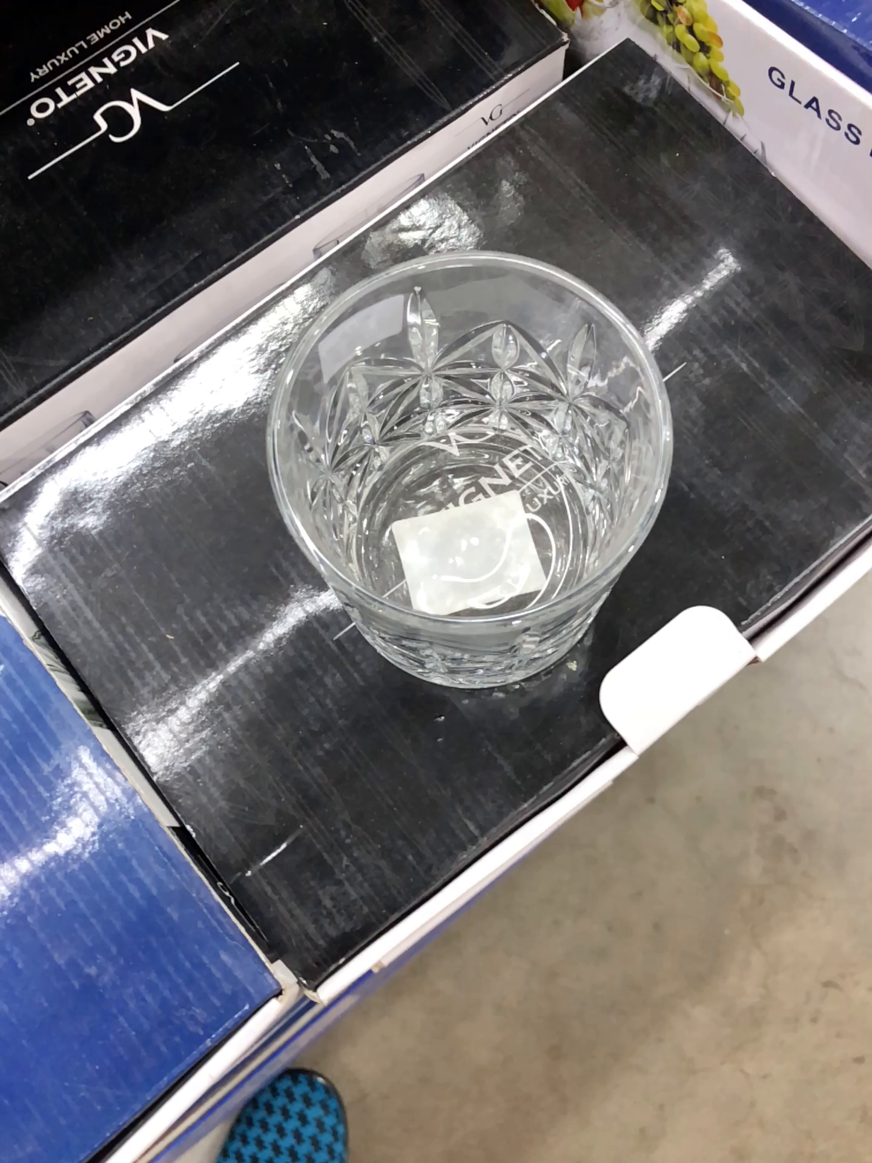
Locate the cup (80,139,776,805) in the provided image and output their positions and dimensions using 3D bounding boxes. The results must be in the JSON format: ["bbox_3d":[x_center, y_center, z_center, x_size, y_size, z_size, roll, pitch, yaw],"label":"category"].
[{"bbox_3d":[0.000,-0.017,0.245,0.100,0.100,0.100,-1,76,3],"label":"cup"}]
